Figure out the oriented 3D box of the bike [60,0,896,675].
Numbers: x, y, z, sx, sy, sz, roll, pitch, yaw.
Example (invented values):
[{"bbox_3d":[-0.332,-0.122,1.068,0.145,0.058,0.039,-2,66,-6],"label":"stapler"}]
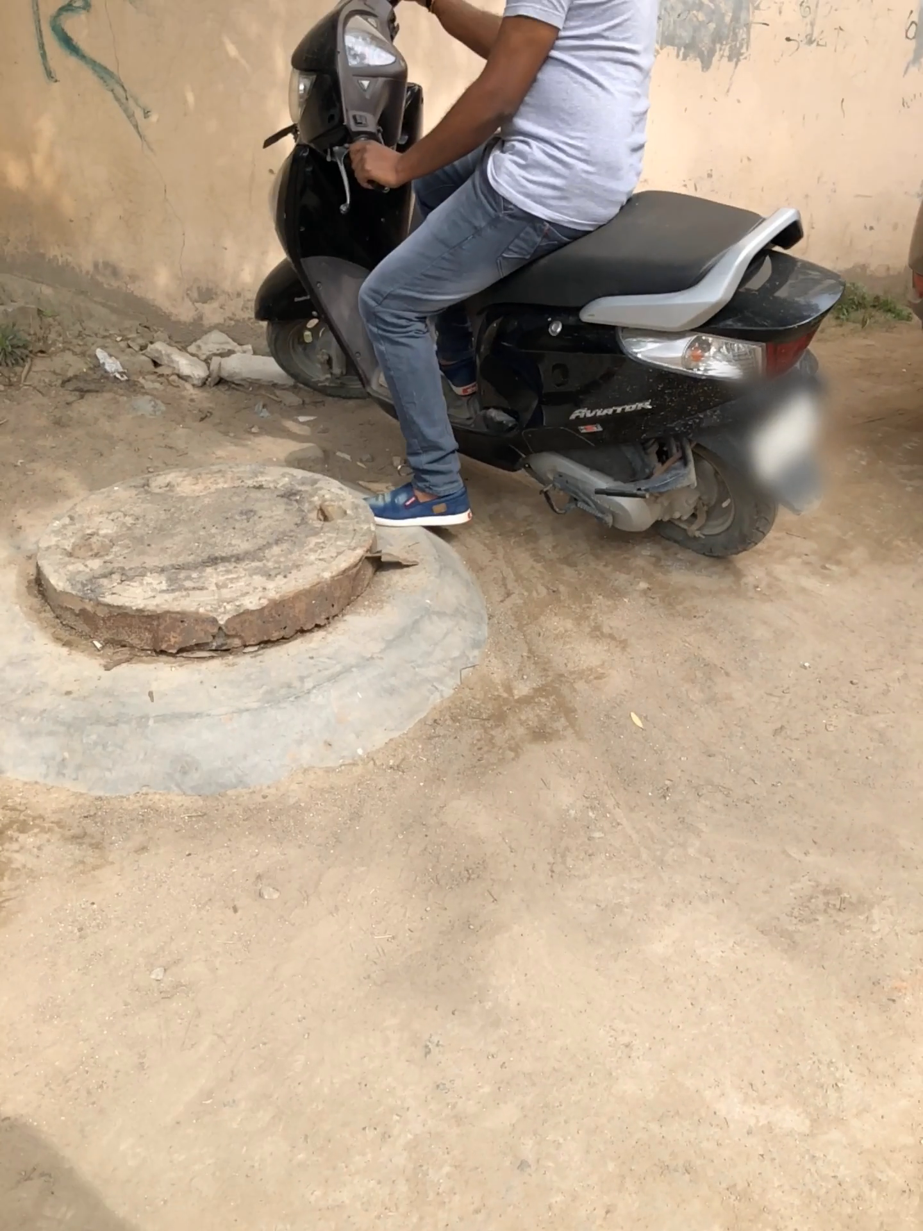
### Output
[{"bbox_3d":[-0.048,-0.837,2.396,1.651,1.228,0.656,23,37,30],"label":"bike"}]
